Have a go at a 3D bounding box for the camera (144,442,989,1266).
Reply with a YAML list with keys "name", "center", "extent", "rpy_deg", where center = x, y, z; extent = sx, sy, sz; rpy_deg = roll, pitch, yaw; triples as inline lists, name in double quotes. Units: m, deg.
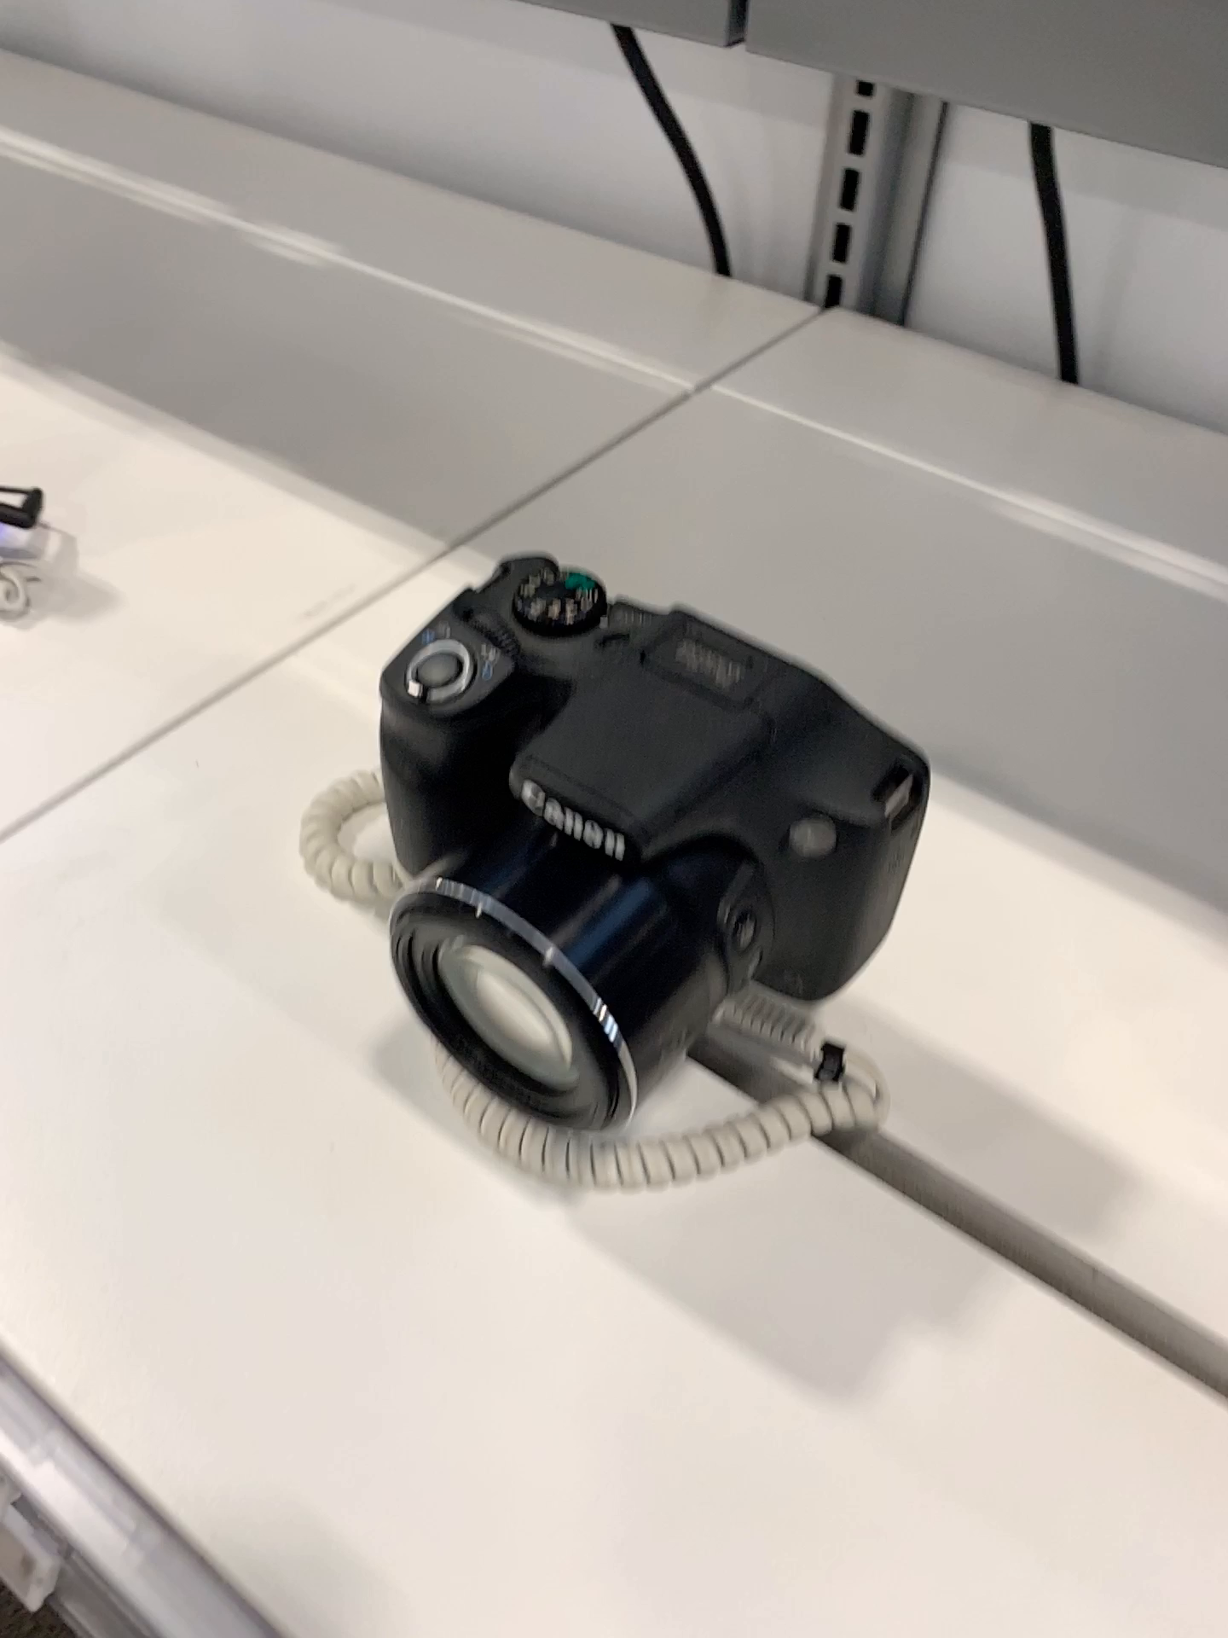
- name: "camera"
  center: [-0.009, 0.000, 0.266]
  extent: [0.120, 0.090, 0.100]
  rpy_deg: [28, 50, 23]
